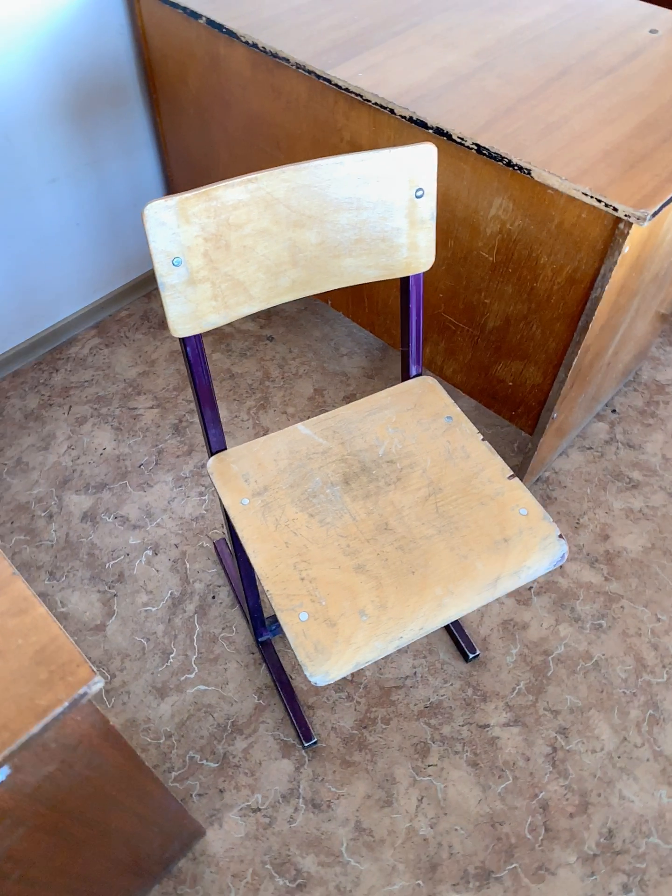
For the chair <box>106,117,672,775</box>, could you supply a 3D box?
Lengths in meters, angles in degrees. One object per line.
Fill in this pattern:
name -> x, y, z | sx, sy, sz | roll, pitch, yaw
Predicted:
chair -> 0.022, 0.049, 0.954 | 0.381, 0.735, 0.473 | -21, 56, -16
